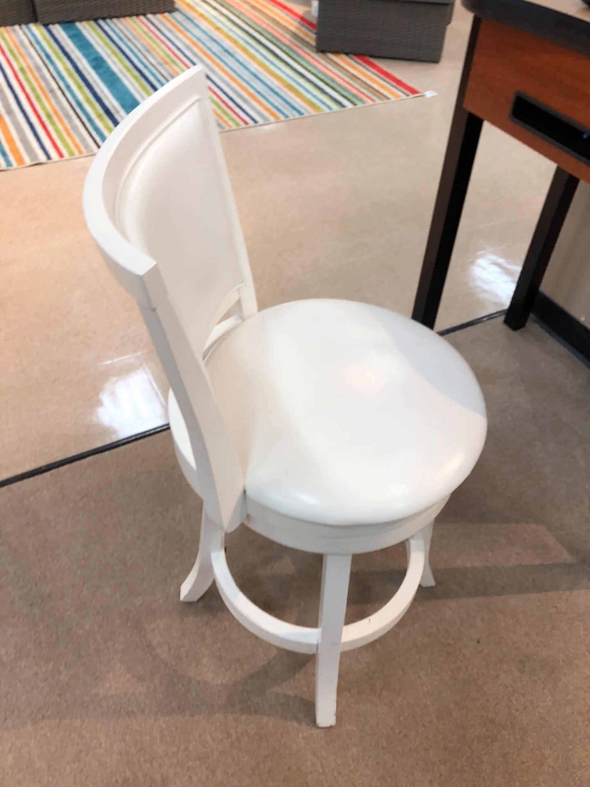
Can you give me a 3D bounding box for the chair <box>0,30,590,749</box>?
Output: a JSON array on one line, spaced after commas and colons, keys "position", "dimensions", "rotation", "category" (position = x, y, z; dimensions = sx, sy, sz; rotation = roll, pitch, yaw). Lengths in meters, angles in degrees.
[{"position": [0.047, 0.052, 1.040], "dimensions": [0.570, 0.944, 0.624], "rotation": [5, 45, 2], "category": "chair"}]
